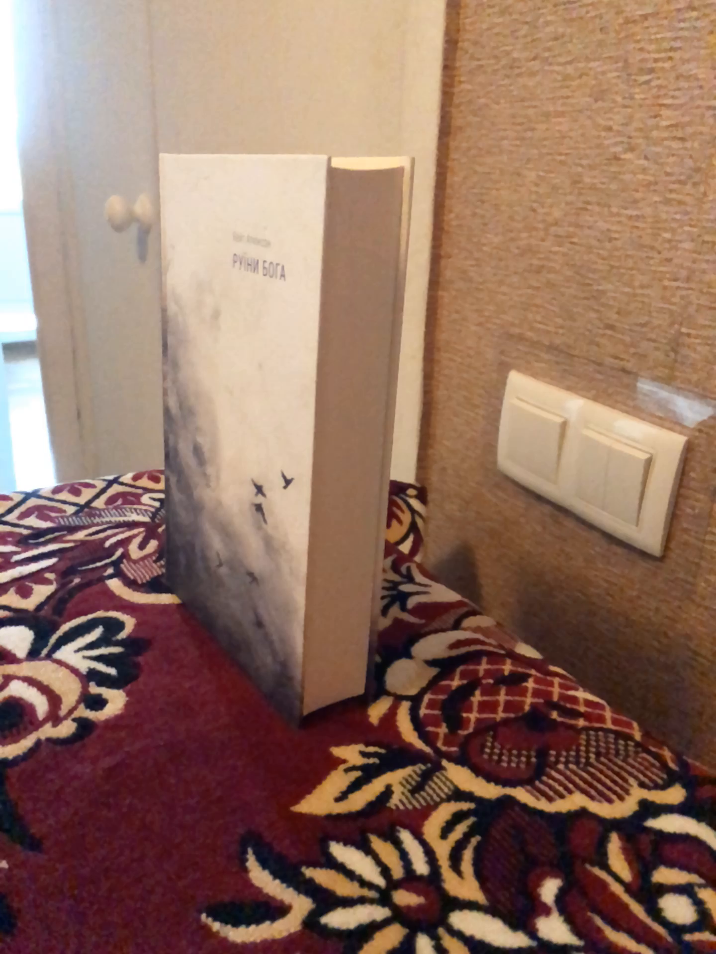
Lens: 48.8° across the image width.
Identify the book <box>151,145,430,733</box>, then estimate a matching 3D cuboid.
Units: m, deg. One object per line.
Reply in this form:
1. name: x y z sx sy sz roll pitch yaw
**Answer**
1. book: -0.042 -0.027 0.338 0.040 0.210 0.151 -8 23 -33
